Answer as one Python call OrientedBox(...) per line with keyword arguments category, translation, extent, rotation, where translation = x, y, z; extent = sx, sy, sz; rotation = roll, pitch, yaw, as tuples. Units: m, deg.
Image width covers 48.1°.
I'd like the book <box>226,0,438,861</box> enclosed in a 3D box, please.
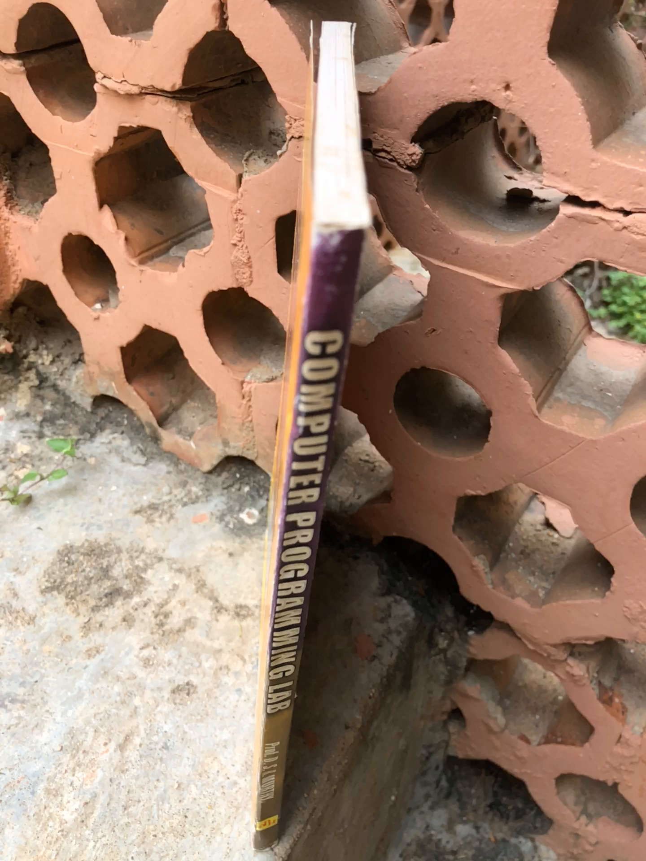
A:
OrientedBox(category="book", translation=(-0.009, 0.005, 0.254), extent=(0.020, 0.249, 0.181), rotation=(6, 38, -5))
